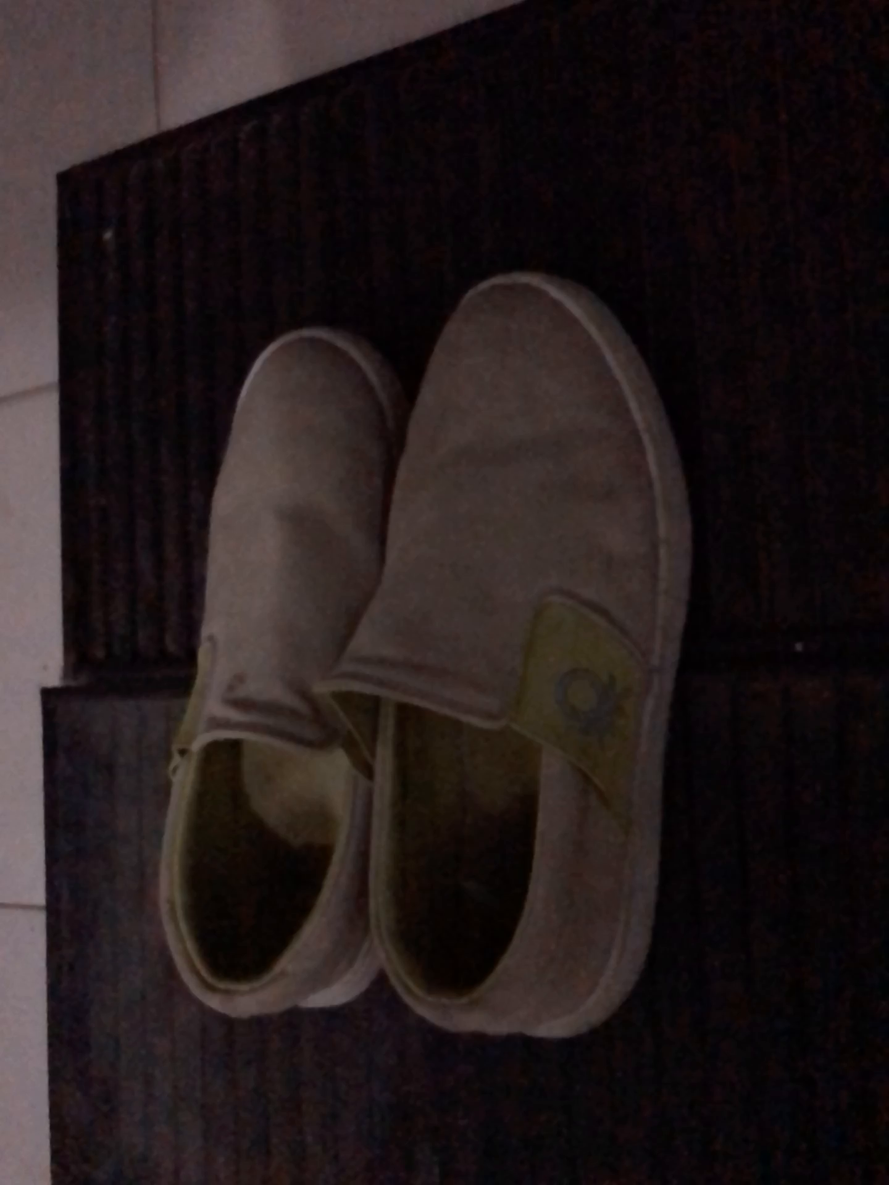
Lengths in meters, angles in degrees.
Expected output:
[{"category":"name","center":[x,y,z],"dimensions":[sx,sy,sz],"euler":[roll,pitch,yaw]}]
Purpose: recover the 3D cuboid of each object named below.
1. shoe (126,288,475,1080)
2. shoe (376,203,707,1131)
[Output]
[{"category":"shoe","center":[-0.060,0.035,0.444],"dimensions":[0.120,0.090,0.300],"euler":[-2,85,27]},{"category":"shoe","center":[0.043,0.026,0.419],"dimensions":[0.110,0.090,0.330],"euler":[-2,85,27]}]
